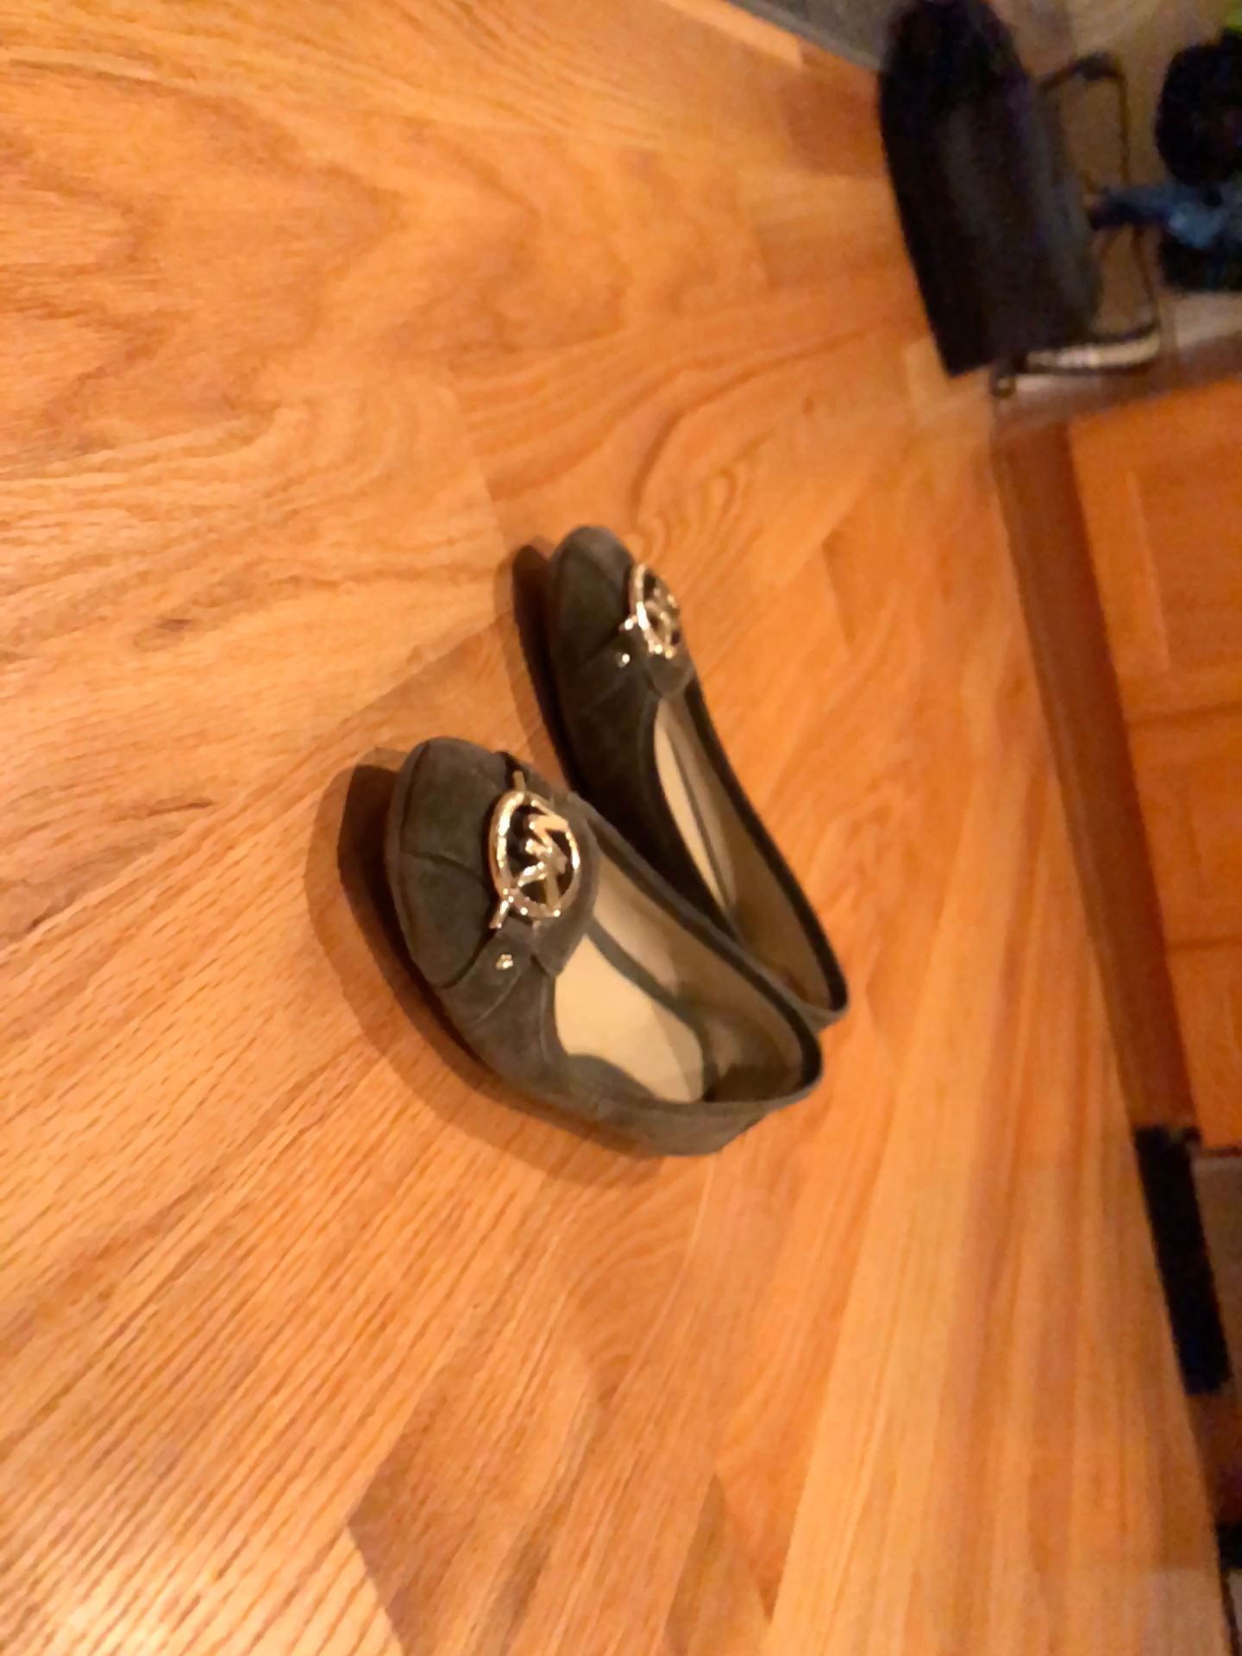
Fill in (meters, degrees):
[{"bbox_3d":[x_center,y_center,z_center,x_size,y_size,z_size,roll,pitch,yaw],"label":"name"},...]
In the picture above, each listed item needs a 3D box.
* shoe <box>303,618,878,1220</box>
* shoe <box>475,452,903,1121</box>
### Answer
[{"bbox_3d":[0.010,0.048,0.448,0.243,0.079,0.091,49,38,-51],"label":"shoe"},{"bbox_3d":[0.038,-0.009,0.542,0.091,0.079,0.240,-63,138,-54],"label":"shoe"}]
